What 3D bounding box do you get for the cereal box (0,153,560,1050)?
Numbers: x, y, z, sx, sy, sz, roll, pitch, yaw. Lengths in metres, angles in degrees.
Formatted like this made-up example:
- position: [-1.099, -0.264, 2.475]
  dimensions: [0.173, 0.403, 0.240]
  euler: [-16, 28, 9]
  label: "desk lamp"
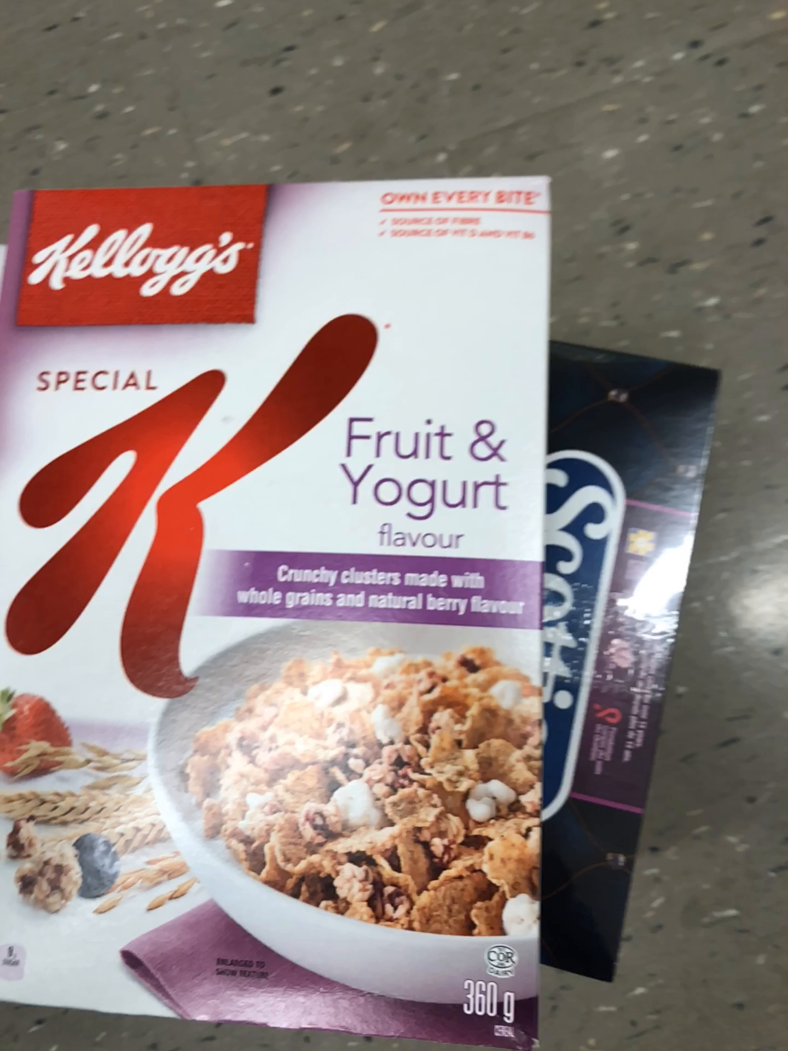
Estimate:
- position: [-0.053, 0.013, 0.304]
  dimensions: [0.210, 0.050, 0.280]
  euler: [1, 76, 7]
  label: "cereal box"
